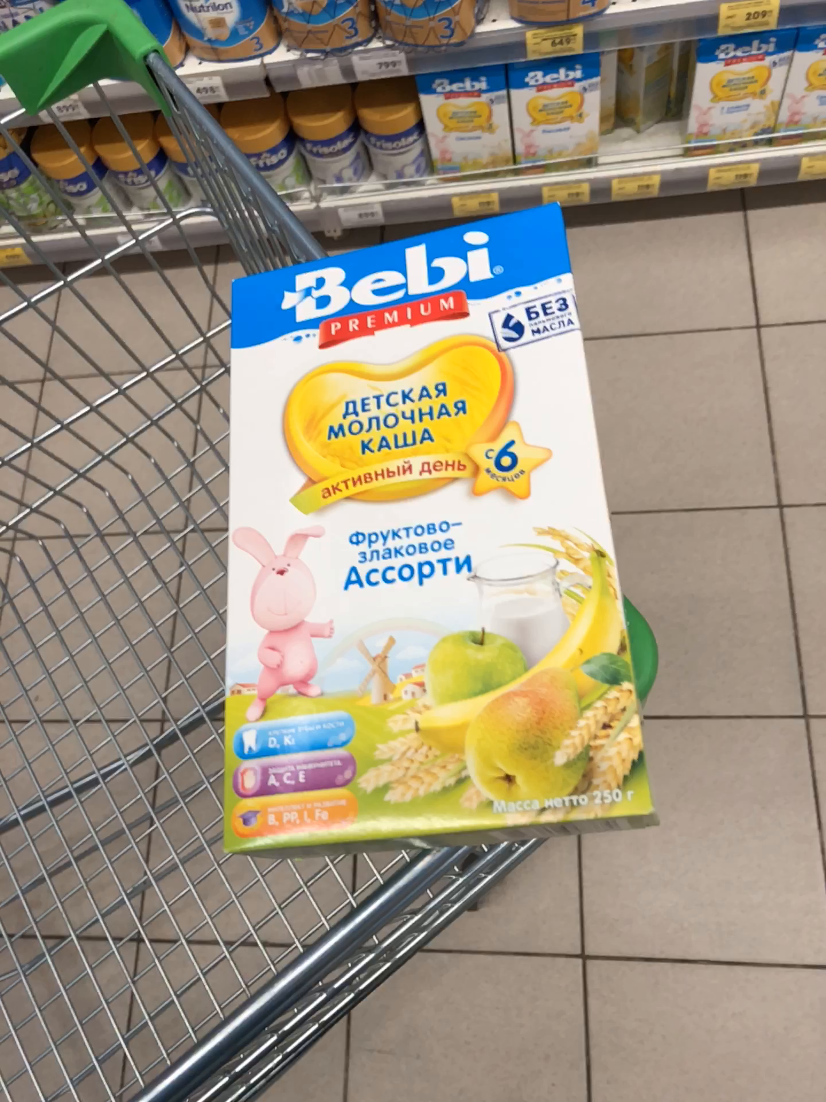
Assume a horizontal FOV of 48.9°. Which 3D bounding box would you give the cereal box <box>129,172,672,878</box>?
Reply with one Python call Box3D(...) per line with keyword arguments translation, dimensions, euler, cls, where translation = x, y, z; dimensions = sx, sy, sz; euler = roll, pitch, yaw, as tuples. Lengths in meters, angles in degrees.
Box3D(translation=(-0.009, -0.008, 0.304), dimensions=(0.150, 0.050, 0.210), euler=(-10, 67, 14), cls="cereal box")
